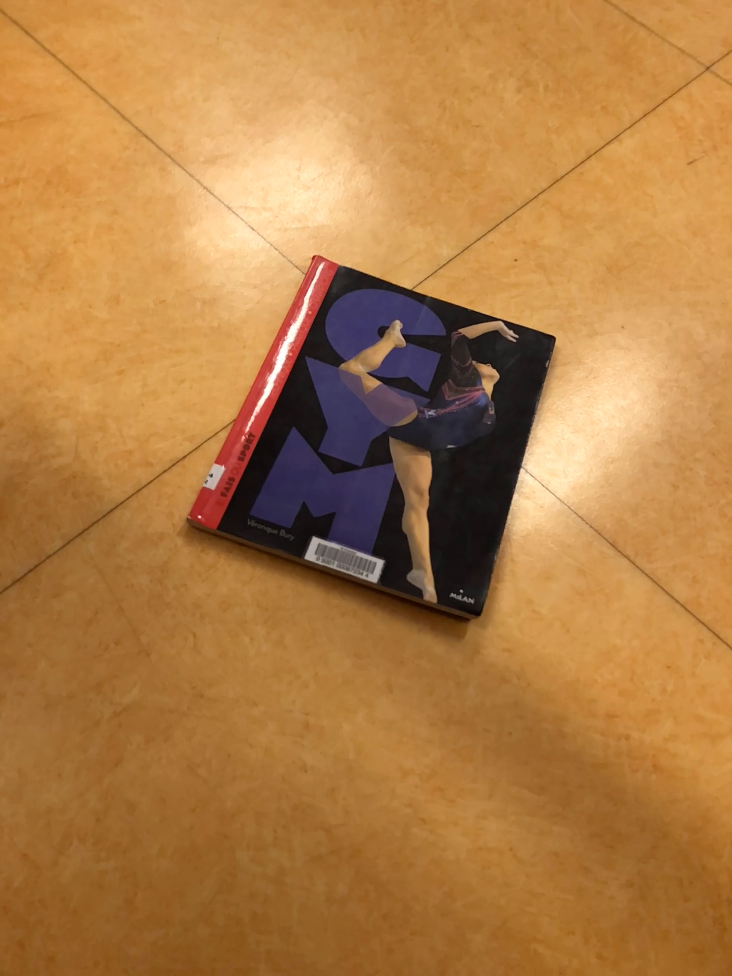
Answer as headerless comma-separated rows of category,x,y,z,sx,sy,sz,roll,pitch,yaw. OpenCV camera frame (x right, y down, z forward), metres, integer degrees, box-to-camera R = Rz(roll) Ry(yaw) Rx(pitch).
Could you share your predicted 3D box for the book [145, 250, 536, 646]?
book,-0.006,-0.038,0.537,0.193,0.030,0.234,19,62,2
